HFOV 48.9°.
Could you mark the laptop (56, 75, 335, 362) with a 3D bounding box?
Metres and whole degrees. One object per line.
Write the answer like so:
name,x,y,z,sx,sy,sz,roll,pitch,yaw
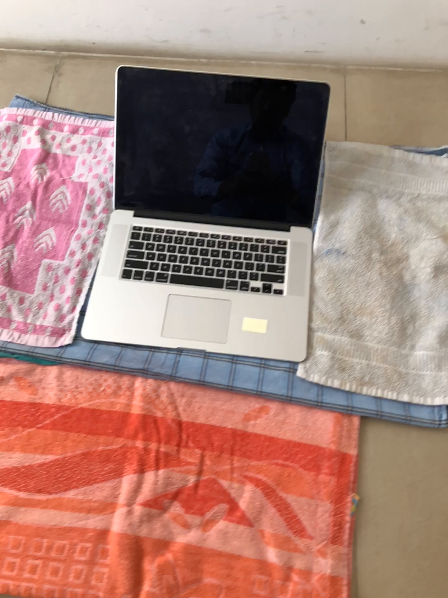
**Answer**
laptop,-0.021,-0.135,0.773,0.343,0.144,0.414,5,66,5
